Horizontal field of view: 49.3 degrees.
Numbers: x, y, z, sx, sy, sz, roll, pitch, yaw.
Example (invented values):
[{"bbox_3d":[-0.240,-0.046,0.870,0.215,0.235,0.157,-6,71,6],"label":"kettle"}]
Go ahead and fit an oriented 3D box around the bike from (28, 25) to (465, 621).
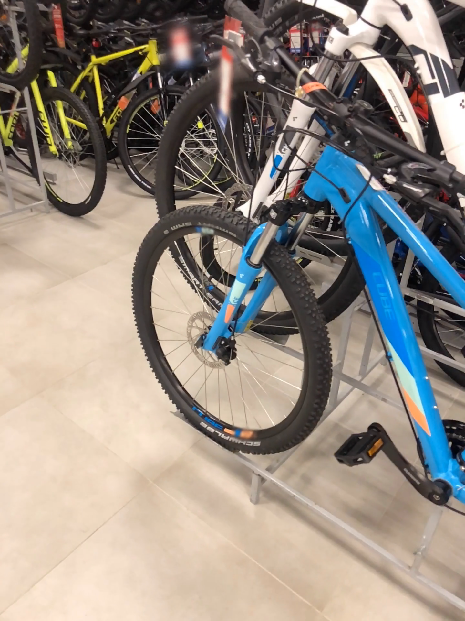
[{"bbox_3d":[0.402,0.079,1.062,1.704,1.082,0.632,24,38,31],"label":"bike"}]
